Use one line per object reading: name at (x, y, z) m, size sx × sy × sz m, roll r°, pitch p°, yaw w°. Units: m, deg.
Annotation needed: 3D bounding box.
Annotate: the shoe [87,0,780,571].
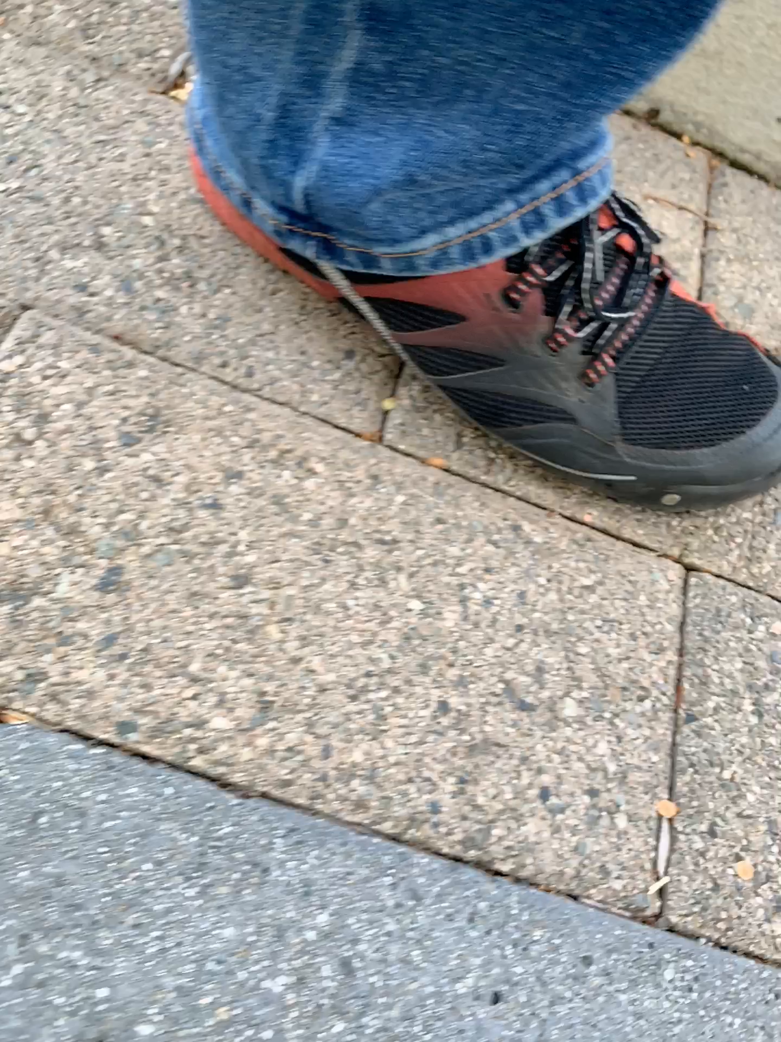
shoe at (0.052, -0.118, 0.338) m, size 0.306 × 0.080 × 0.137 m, roll 27°, pitch 58°, yaw -3°
